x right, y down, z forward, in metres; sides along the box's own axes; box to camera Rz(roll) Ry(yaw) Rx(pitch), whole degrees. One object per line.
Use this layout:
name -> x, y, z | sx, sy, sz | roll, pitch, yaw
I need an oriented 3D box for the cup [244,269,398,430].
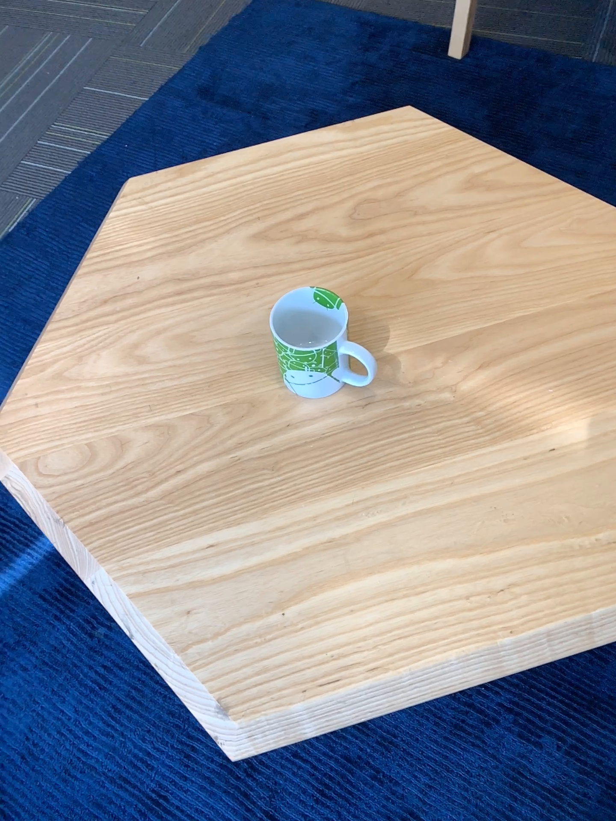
cup -> 0.016, -0.063, 0.651 | 0.120, 0.090, 0.090 | 29, 68, 20
